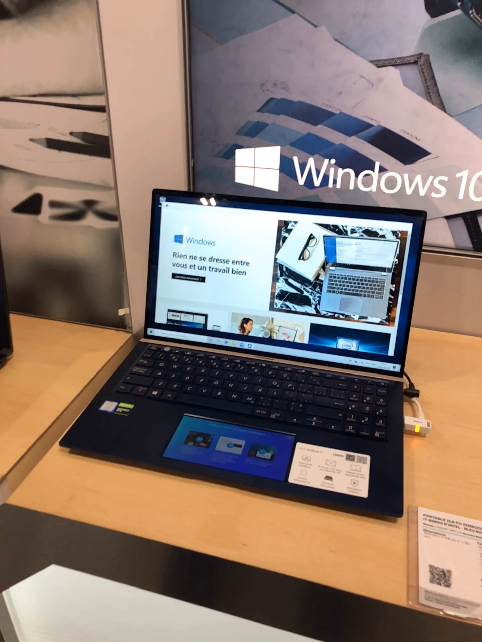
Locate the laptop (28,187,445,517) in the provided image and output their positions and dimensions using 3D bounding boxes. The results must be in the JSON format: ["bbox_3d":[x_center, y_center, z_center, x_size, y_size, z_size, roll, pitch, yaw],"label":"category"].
[{"bbox_3d":[0.014,0.001,0.573,0.338,0.183,0.274,8,31,12],"label":"laptop"}]
